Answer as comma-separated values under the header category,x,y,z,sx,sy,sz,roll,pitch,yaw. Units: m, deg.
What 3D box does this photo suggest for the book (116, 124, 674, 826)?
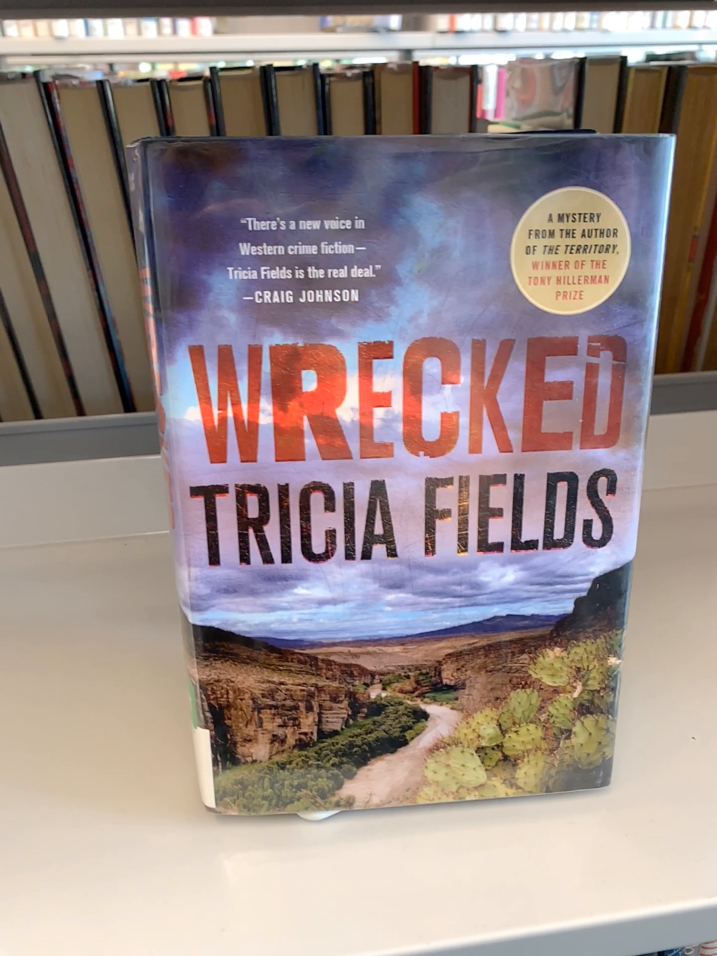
category,x,y,z,sx,sy,sz,roll,pitch,yaw
book,0.014,0.006,0.242,0.146,0.213,0.035,-3,17,-4
